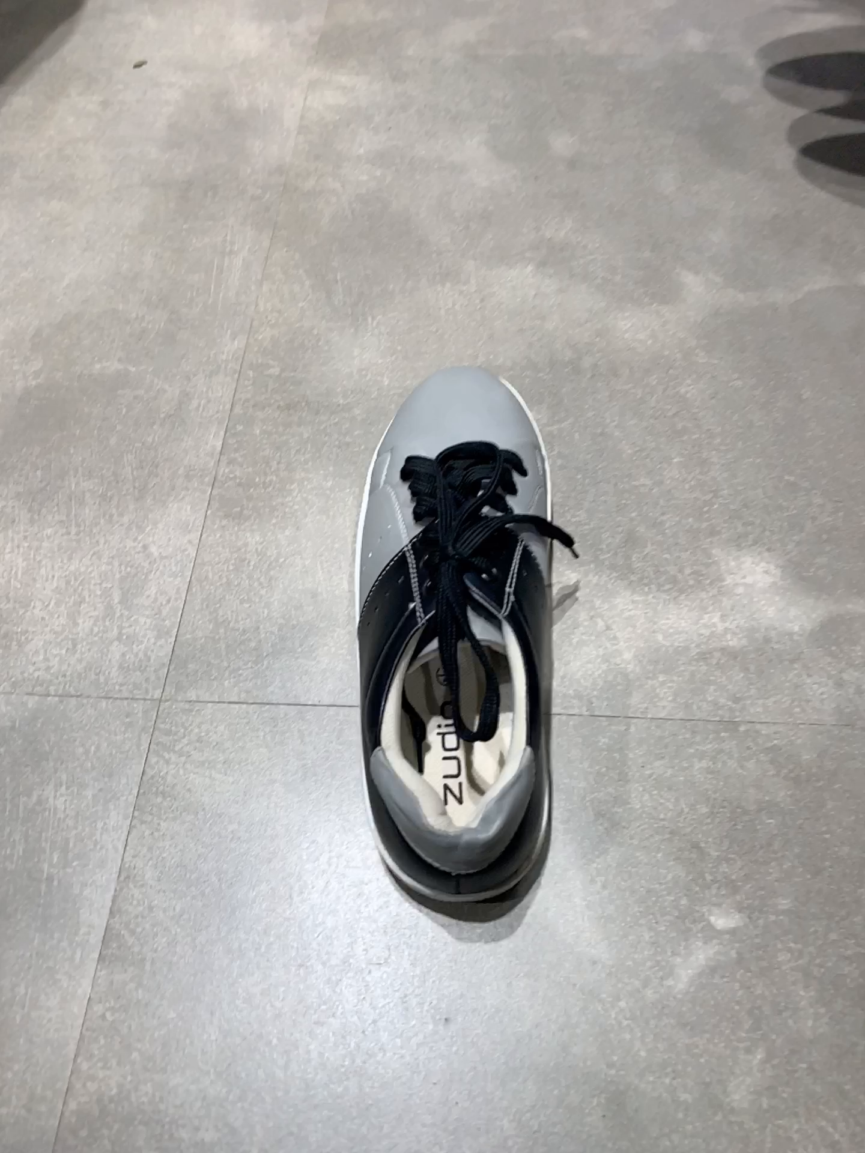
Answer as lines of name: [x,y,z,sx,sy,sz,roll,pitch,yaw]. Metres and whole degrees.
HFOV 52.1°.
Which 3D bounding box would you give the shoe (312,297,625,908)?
shoe: [0.018,0.000,0.398,0.101,0.093,0.263,1,57,3]
